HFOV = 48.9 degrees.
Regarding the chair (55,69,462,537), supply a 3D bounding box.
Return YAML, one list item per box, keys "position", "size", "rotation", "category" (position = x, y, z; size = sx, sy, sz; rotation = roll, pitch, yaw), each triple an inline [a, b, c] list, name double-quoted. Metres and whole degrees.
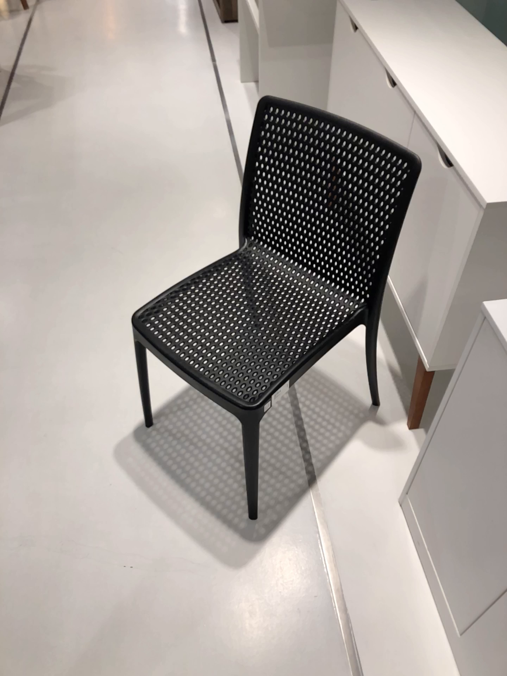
- position: [0.024, -0.068, 1.410]
  size: [0.531, 0.864, 0.603]
  rotation: [33, 56, 27]
  category: "chair"
